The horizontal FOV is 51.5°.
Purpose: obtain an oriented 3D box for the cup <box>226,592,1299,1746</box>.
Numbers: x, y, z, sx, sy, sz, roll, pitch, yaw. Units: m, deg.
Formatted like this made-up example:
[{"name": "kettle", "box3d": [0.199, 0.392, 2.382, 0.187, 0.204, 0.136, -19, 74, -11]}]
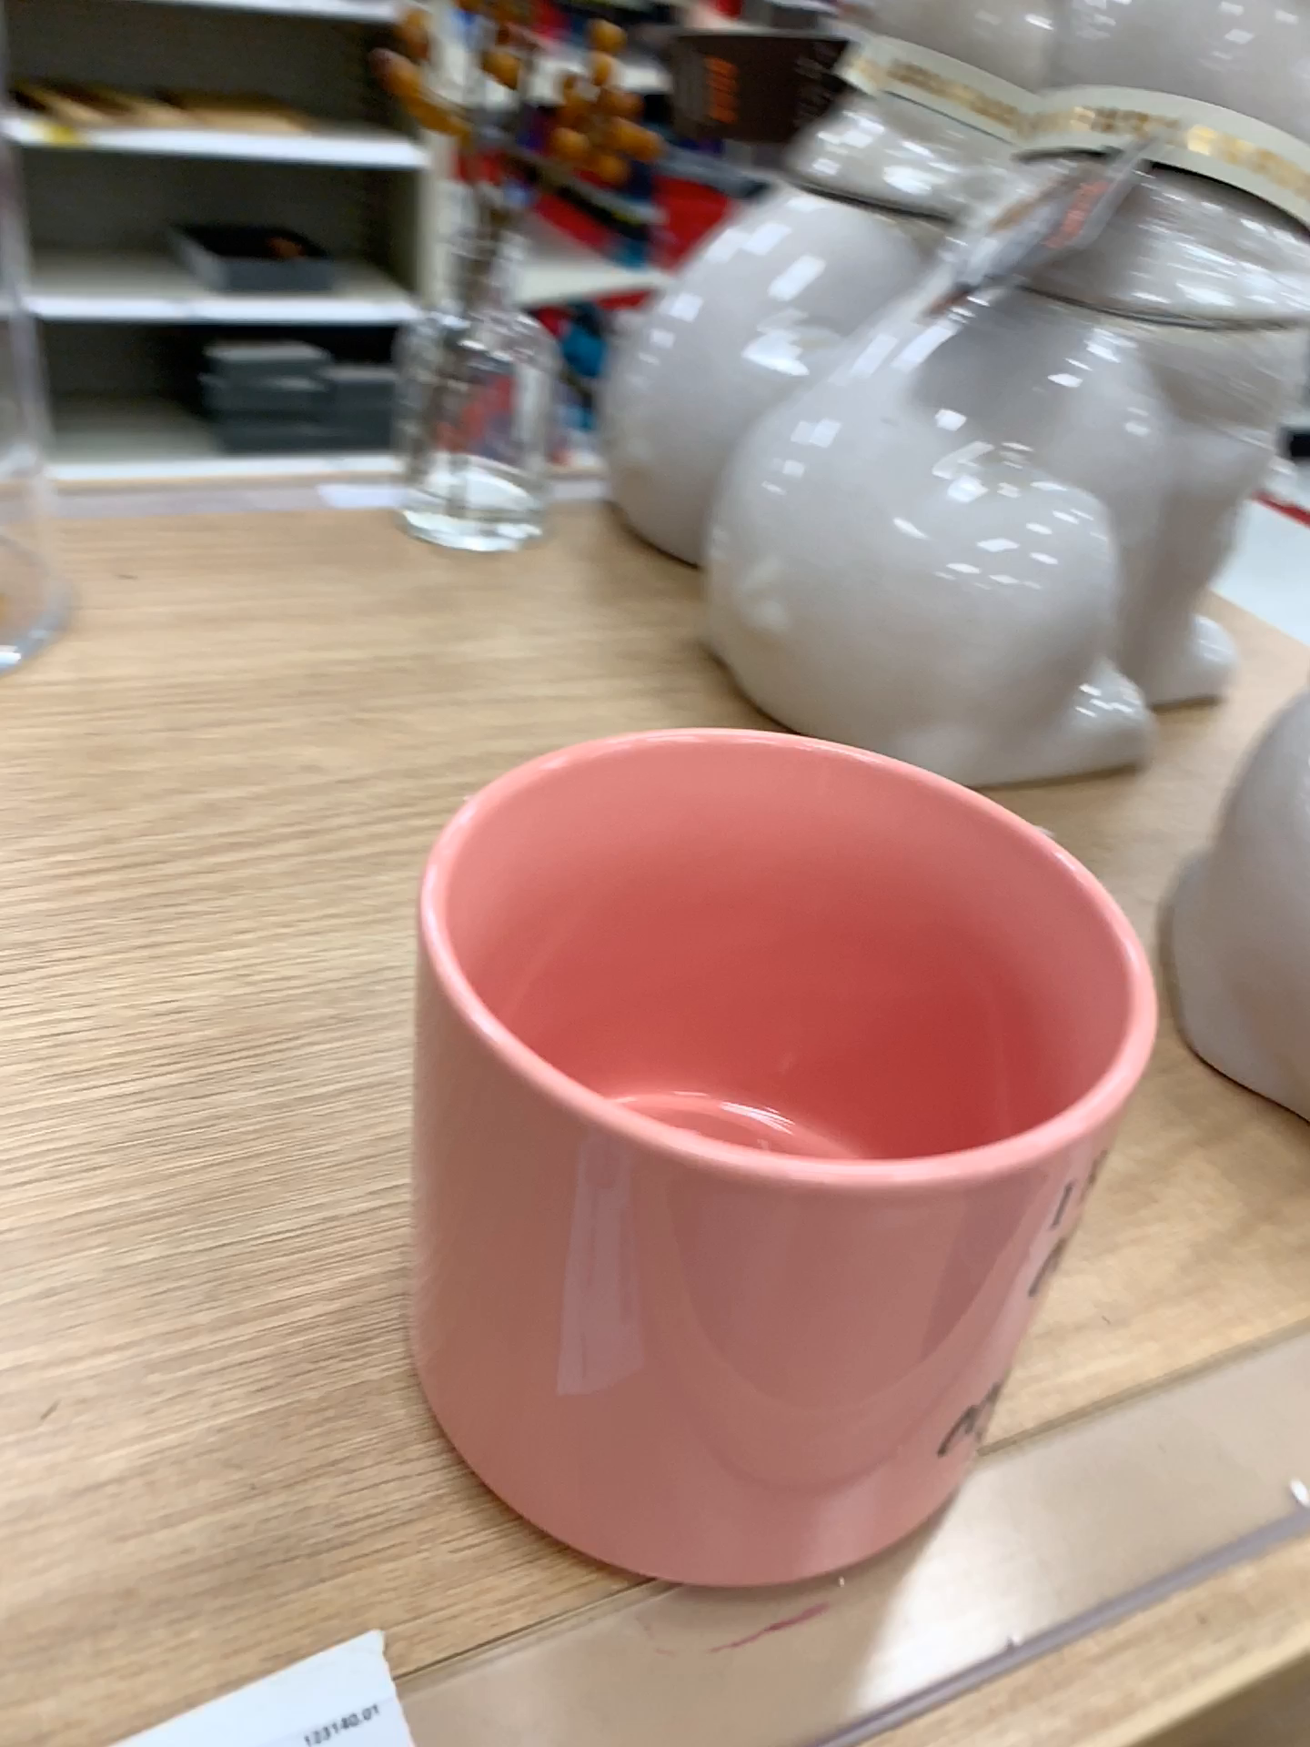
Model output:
[{"name": "cup", "box3d": [0.022, 0.030, 0.214, 0.104, 0.085, 0.133, 23, 37, 21]}]
